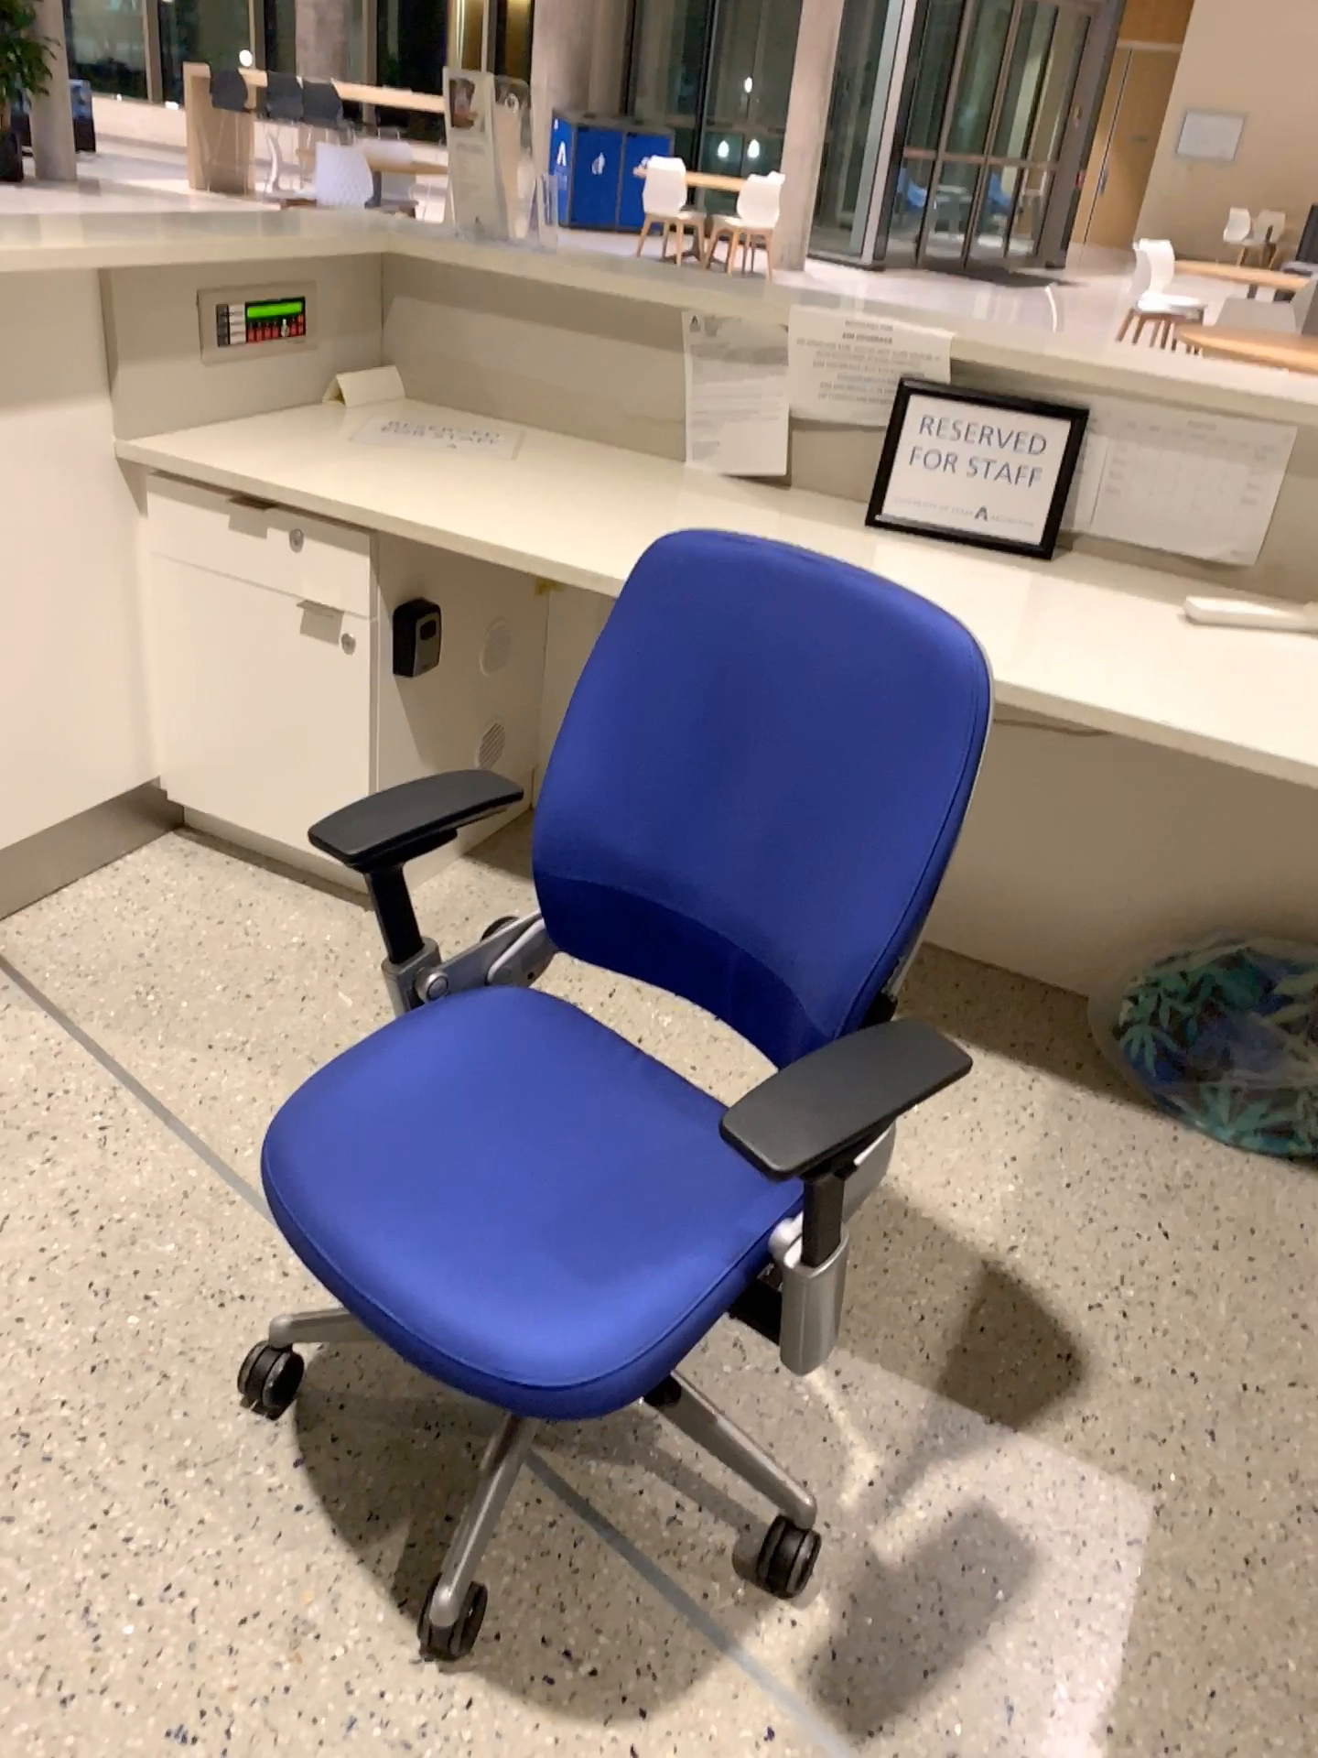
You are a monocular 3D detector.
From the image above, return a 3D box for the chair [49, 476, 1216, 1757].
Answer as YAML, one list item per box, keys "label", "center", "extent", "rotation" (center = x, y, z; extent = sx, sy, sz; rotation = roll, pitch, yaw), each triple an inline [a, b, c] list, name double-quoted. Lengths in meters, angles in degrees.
- label: "chair"
  center: [-0.054, 0.175, 1.295]
  extent: [0.688, 0.880, 0.650]
  rotation: [28, 36, 33]
